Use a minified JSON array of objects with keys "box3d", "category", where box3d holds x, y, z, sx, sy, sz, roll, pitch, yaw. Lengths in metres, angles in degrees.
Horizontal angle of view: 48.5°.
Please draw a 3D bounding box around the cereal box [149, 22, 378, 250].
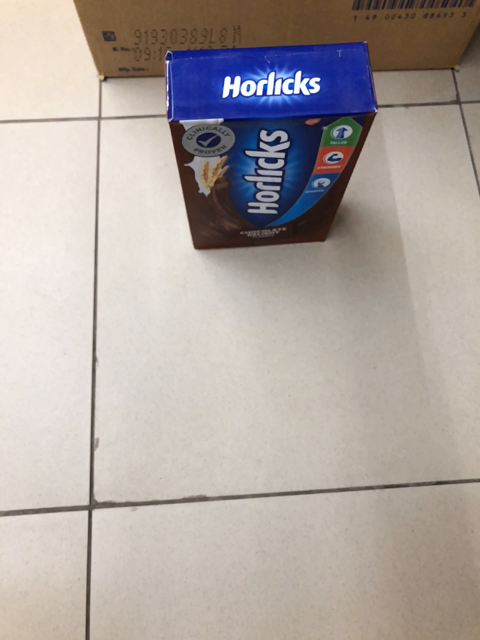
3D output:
[{"box3d":[0.013,-0.130,0.429,0.140,0.199,0.060,-3,72,-2],"category":"cereal box"}]
